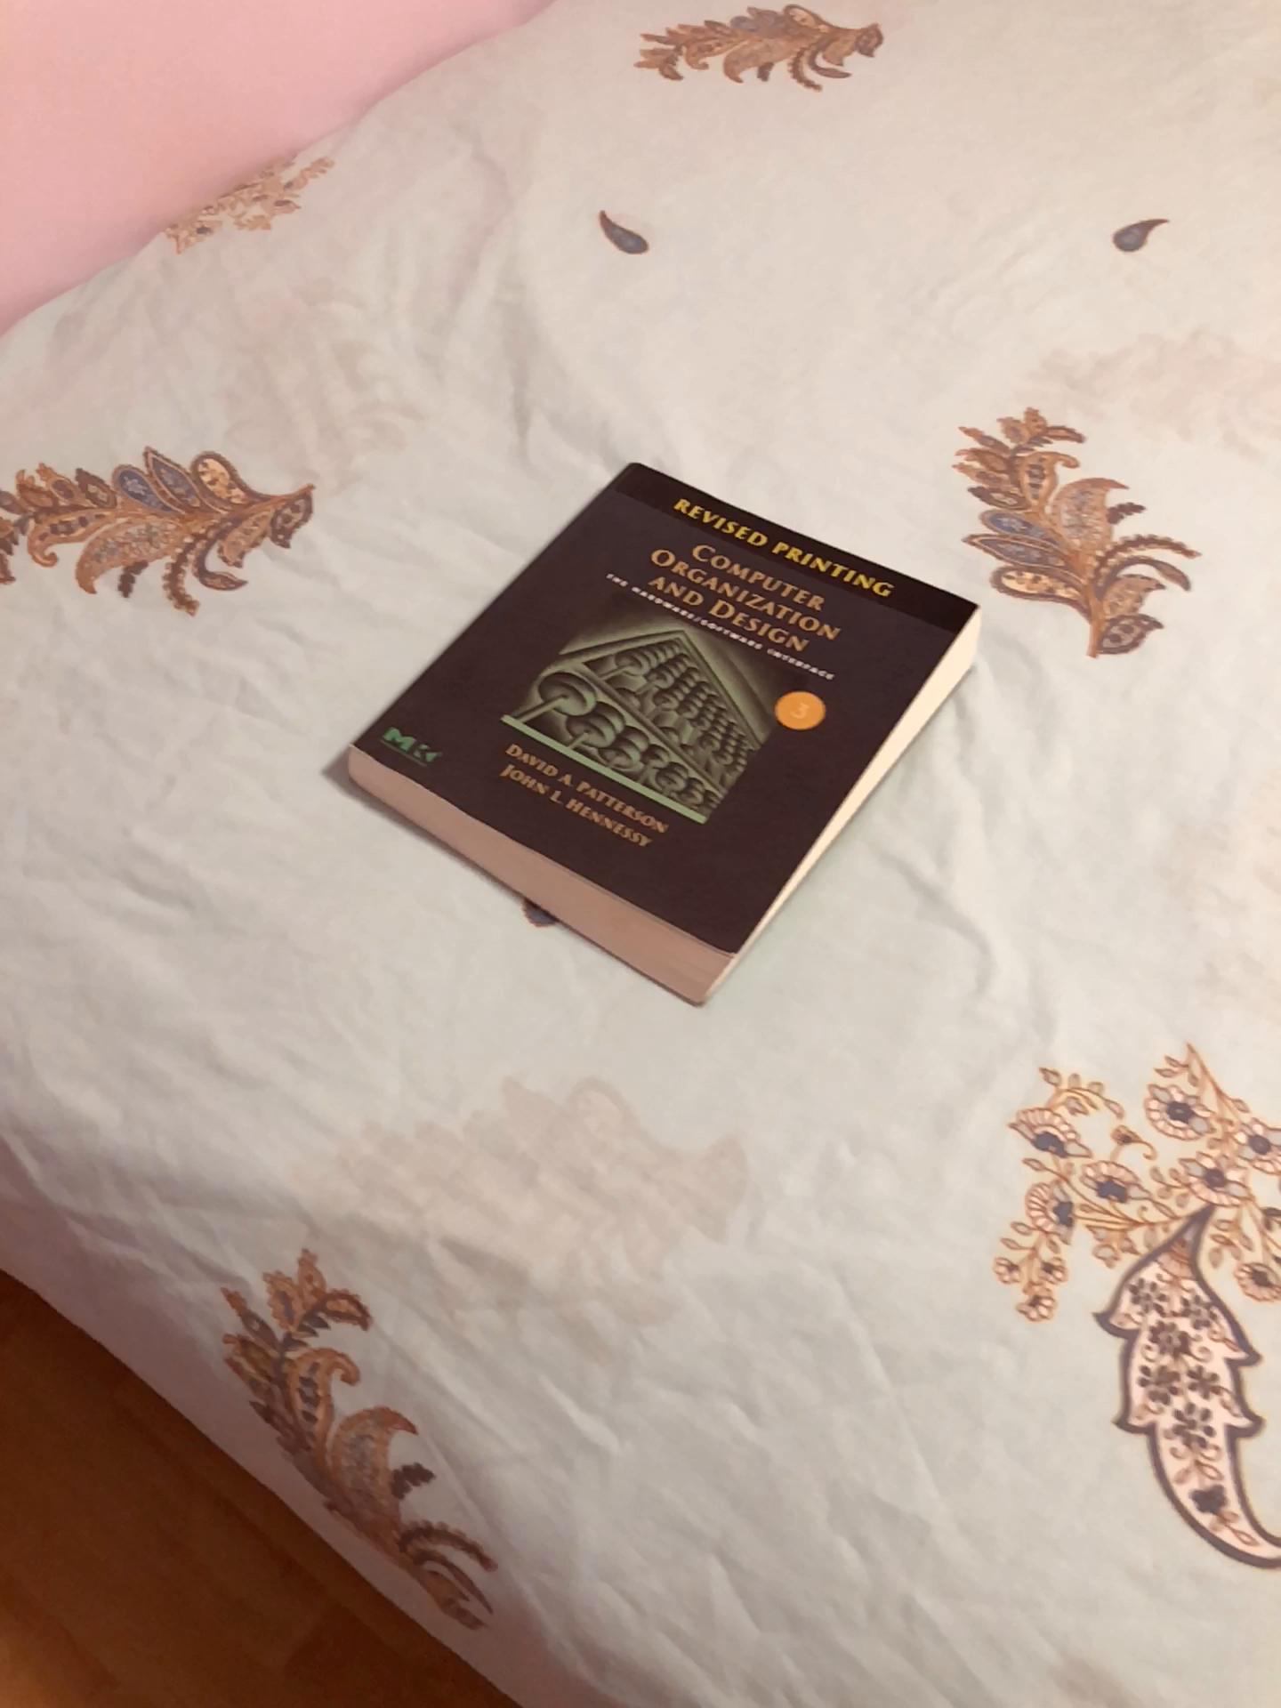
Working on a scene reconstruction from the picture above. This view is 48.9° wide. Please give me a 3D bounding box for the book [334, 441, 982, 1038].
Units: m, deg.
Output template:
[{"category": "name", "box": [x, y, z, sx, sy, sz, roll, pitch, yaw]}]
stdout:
[{"category": "book", "box": [0.013, -0.065, 0.663, 0.201, 0.073, 0.226, 29, 61, 17]}]
